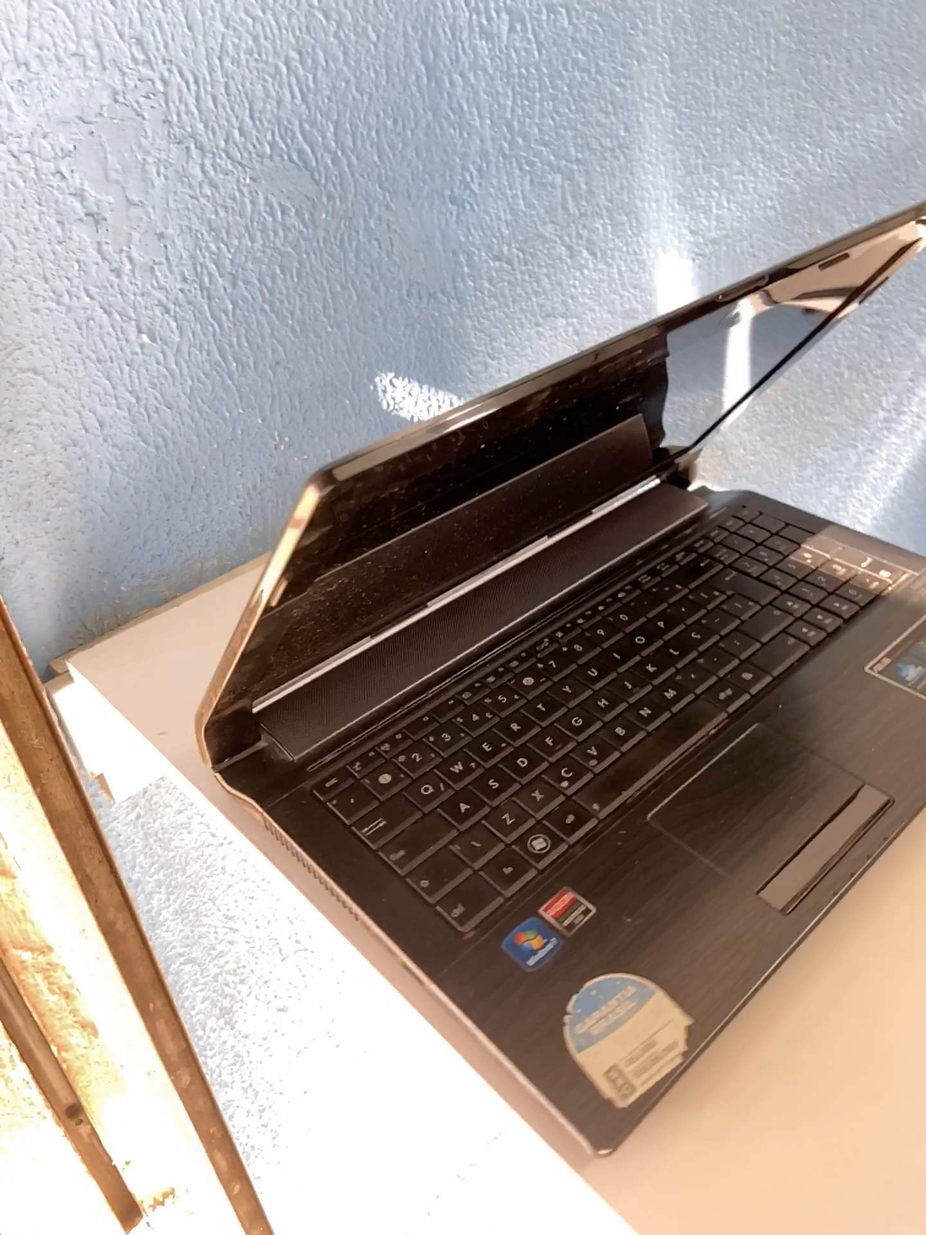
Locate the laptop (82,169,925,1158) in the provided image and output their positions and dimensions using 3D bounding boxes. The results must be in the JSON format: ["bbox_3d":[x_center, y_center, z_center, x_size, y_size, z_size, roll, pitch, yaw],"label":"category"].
[{"bbox_3d":[0.094,-0.046,0.430,0.388,0.208,0.255,-30,40,-31],"label":"laptop"}]
